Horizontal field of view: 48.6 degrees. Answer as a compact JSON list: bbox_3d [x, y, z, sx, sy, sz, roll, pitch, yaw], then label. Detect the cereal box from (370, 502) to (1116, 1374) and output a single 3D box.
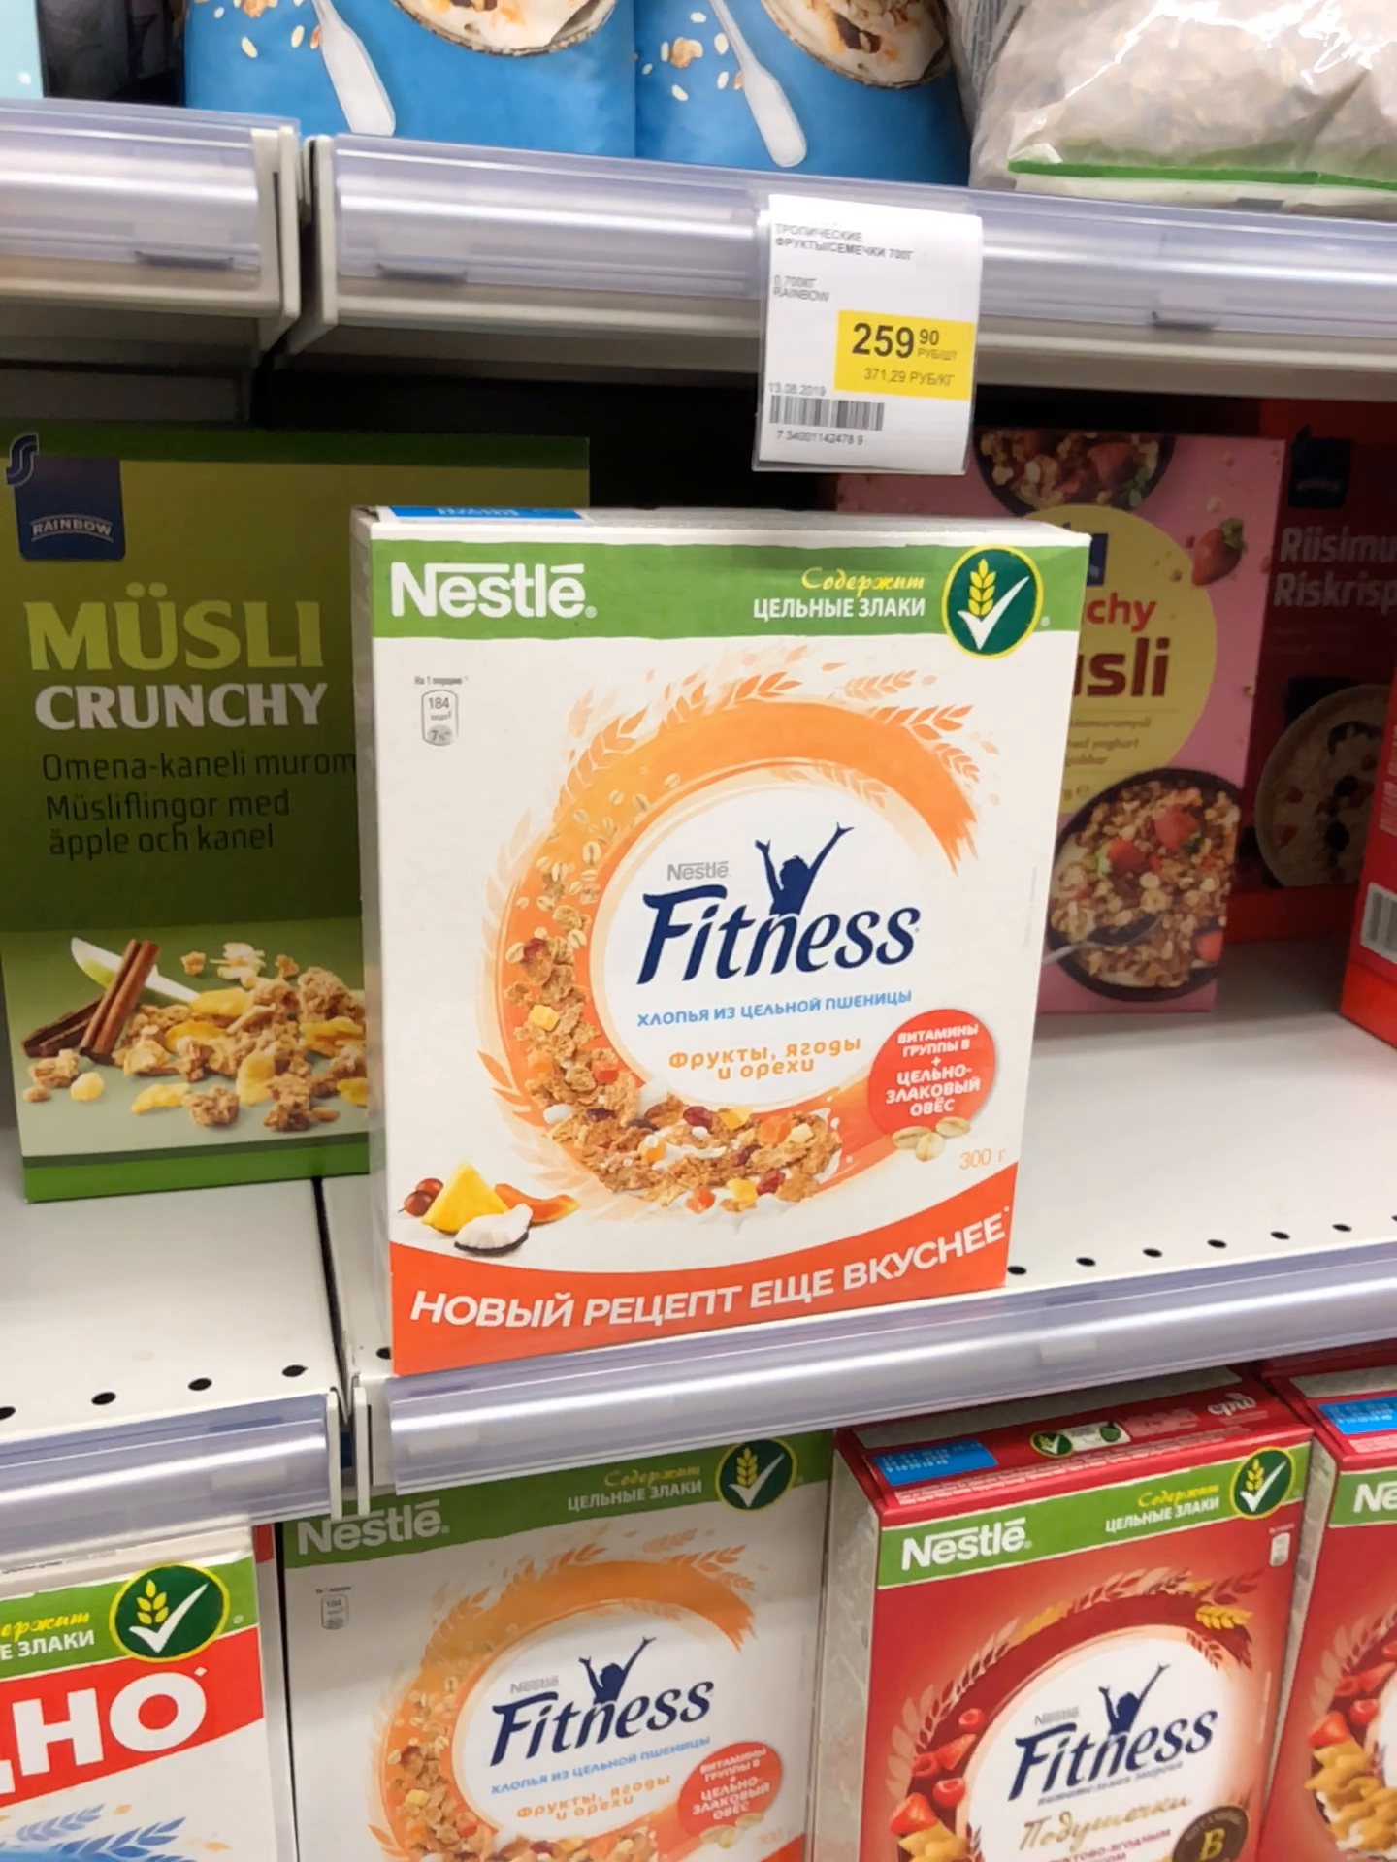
[{"bbox_3d":[0.009,0.000,0.442,0.190,0.229,0.050,-4,20,-18],"label":"cereal box"}]
